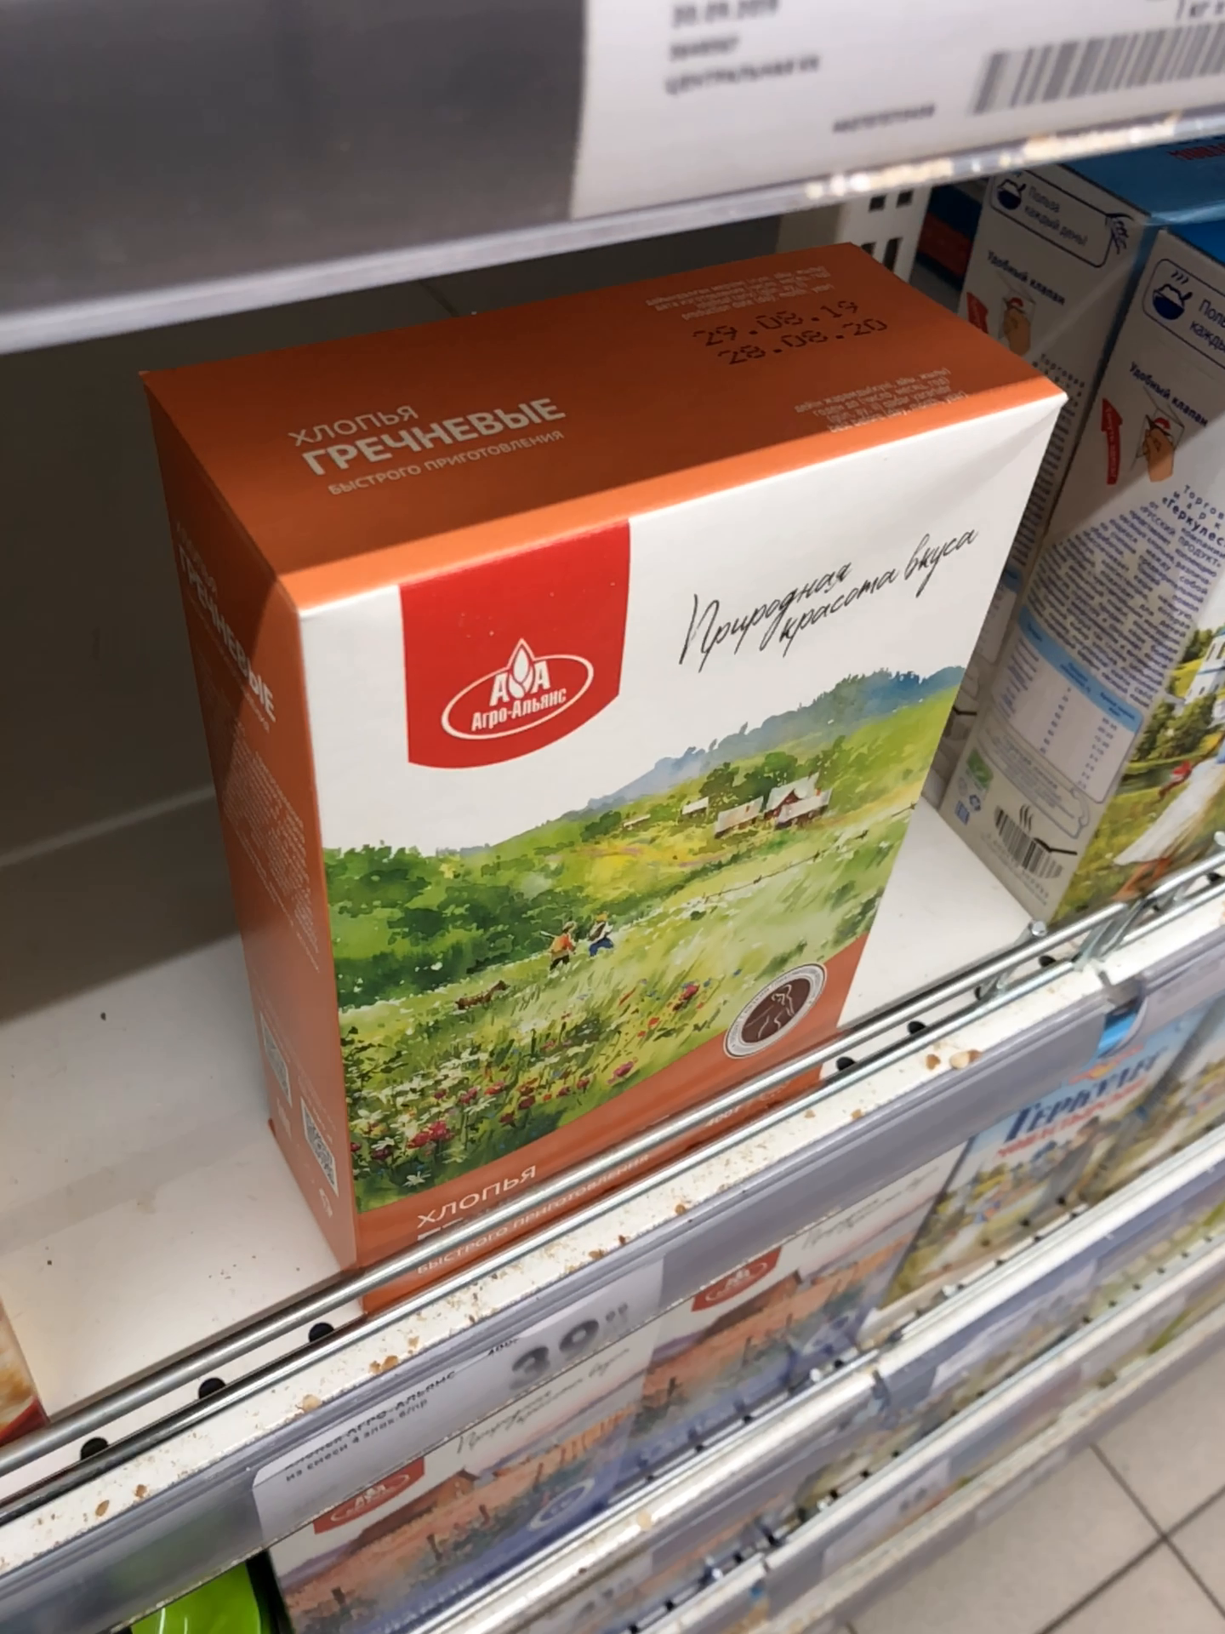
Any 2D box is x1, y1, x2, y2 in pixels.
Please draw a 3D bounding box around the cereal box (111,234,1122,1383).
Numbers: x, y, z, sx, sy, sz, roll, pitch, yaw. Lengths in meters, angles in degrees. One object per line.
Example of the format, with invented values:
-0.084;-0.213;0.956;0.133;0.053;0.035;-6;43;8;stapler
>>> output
-0.005;0.009;0.261;0.130;0.199;0.060;-21;52;-25;cereal box
